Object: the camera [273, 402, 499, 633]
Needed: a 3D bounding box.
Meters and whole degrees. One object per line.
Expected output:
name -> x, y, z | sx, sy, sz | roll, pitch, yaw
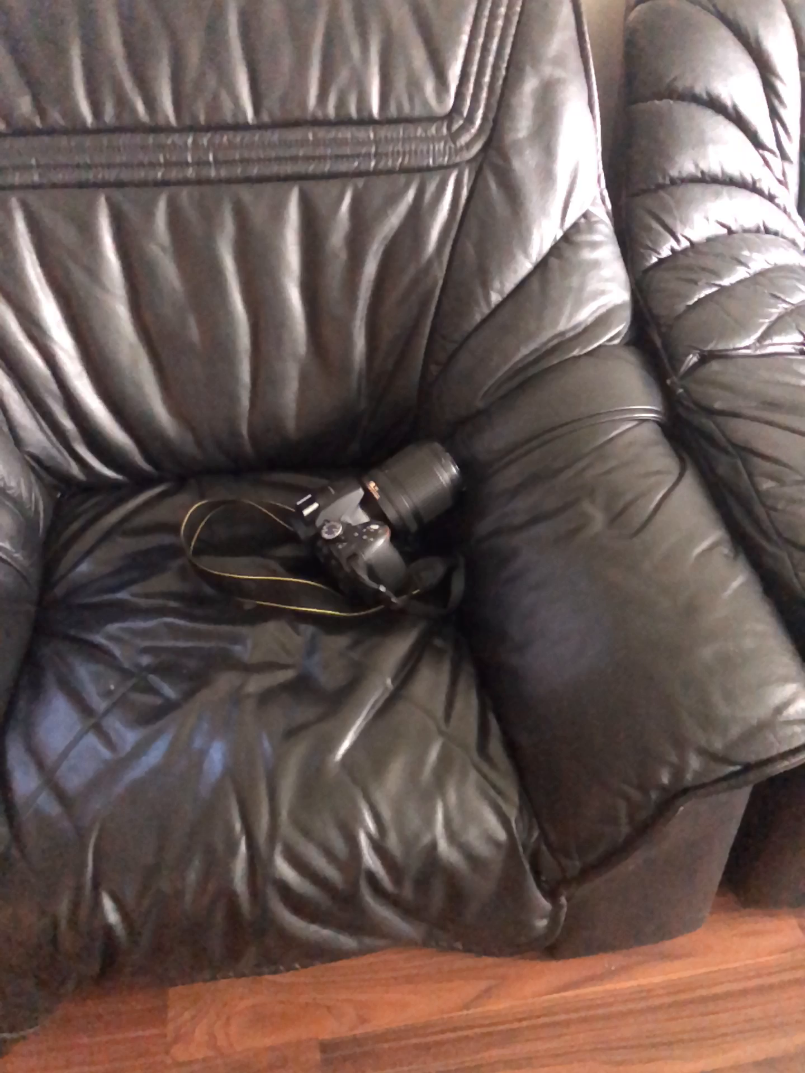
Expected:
camera -> -0.016, -0.022, 0.969 | 0.170, 0.130, 0.140 | -34, 48, -9
